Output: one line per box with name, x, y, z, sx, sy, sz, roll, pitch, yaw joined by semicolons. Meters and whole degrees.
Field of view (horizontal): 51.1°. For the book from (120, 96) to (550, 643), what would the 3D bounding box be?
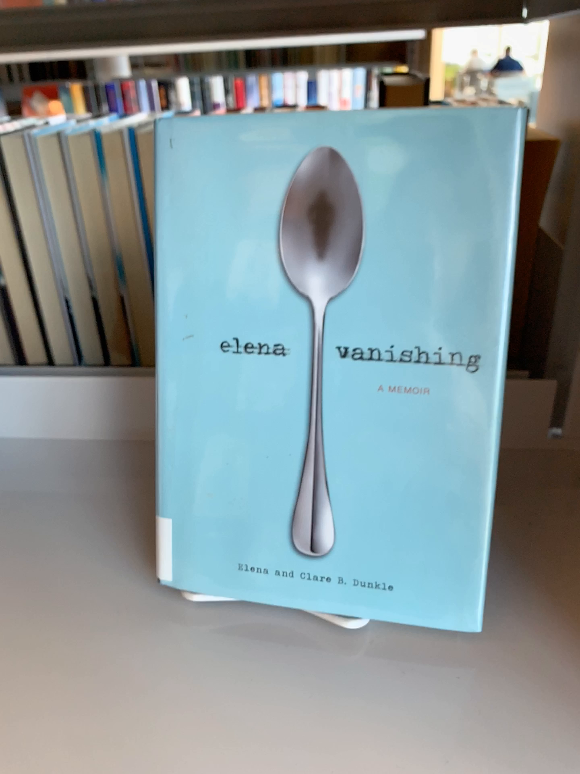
book;0.012;-0.006;0.257;0.159;0.203;0.035;4;11;13
